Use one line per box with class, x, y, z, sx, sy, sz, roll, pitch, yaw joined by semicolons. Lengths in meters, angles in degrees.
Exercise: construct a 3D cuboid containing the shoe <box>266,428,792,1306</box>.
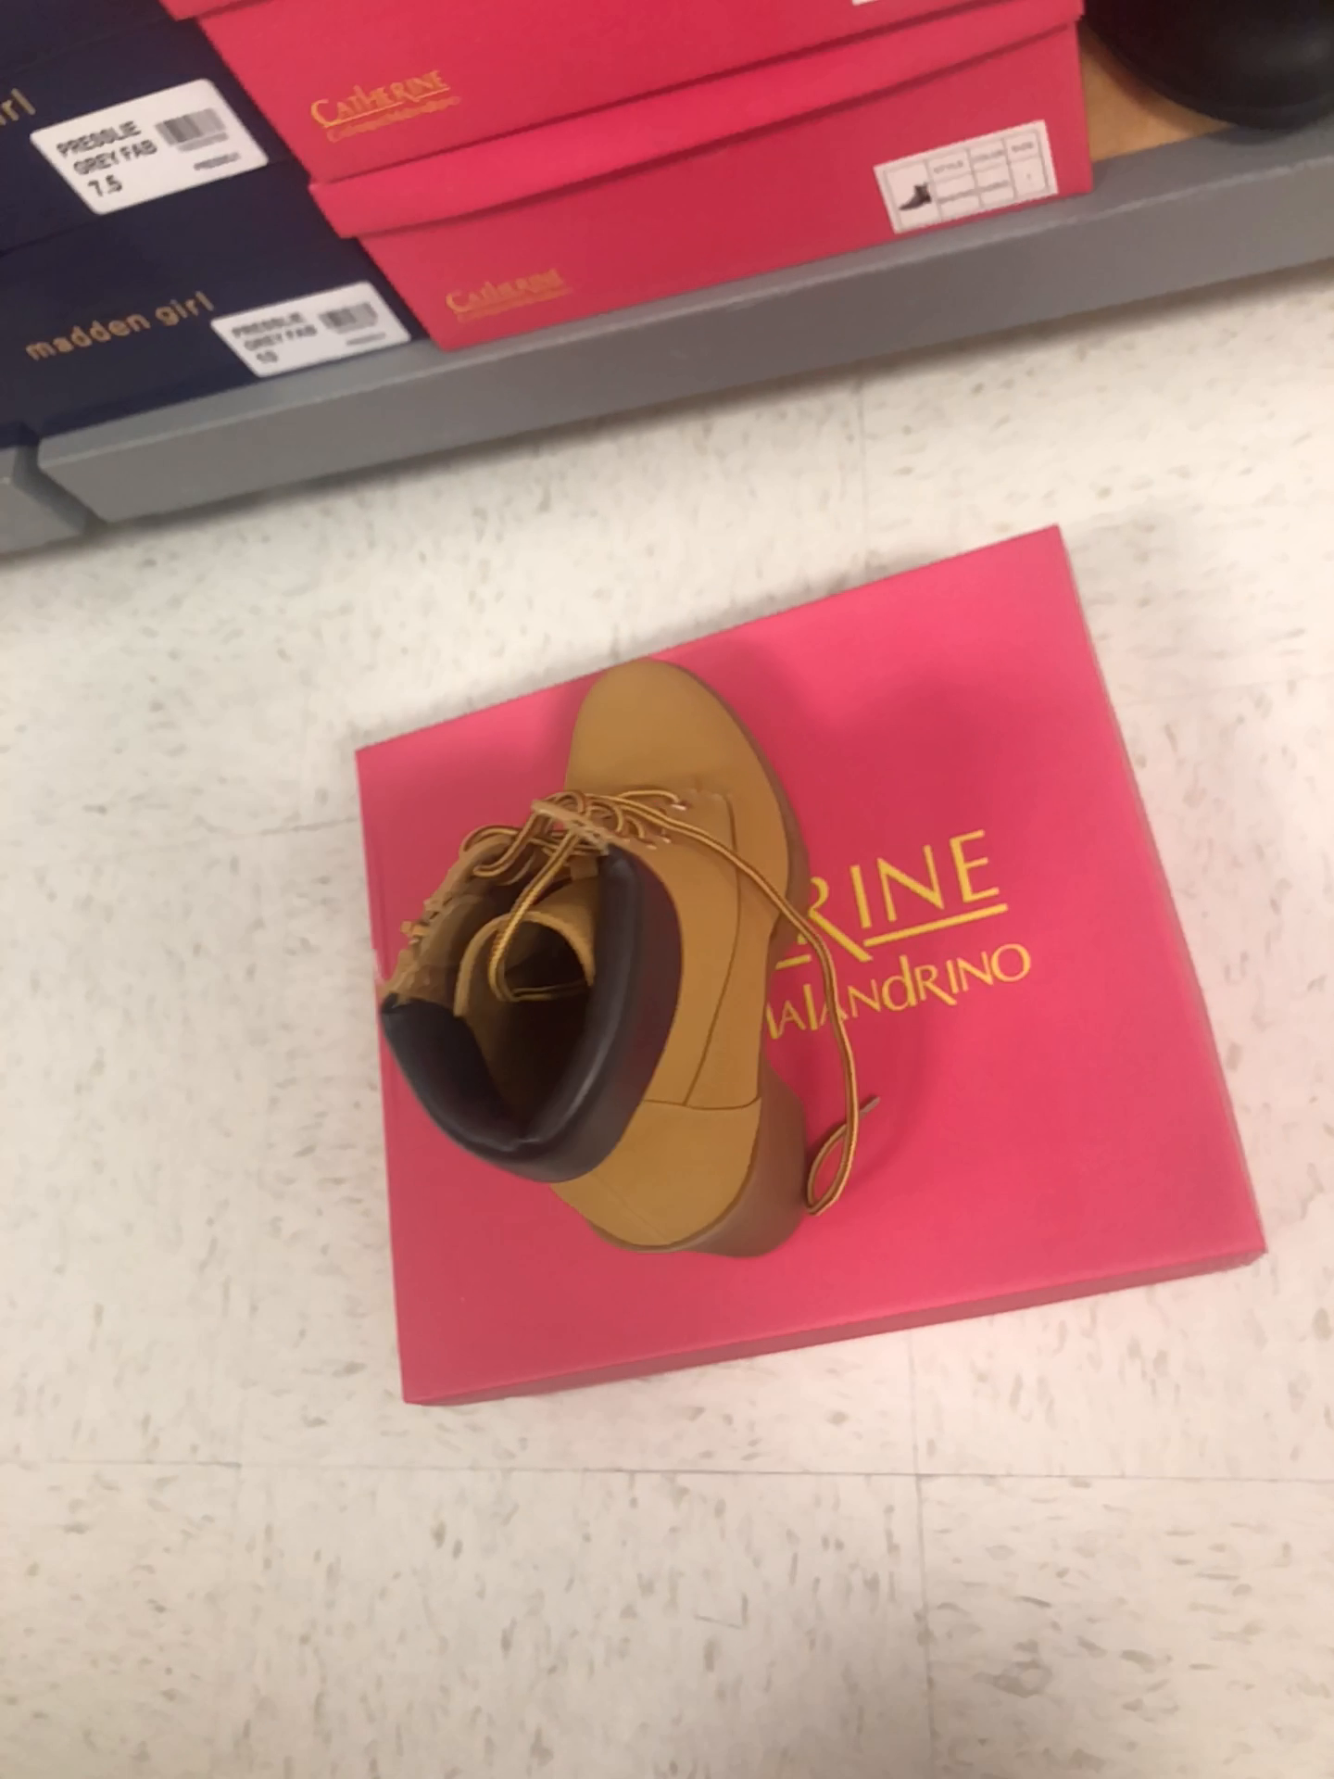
shoe;-0.036;0.007;0.462;0.085;0.170;0.217;-11;67;17
